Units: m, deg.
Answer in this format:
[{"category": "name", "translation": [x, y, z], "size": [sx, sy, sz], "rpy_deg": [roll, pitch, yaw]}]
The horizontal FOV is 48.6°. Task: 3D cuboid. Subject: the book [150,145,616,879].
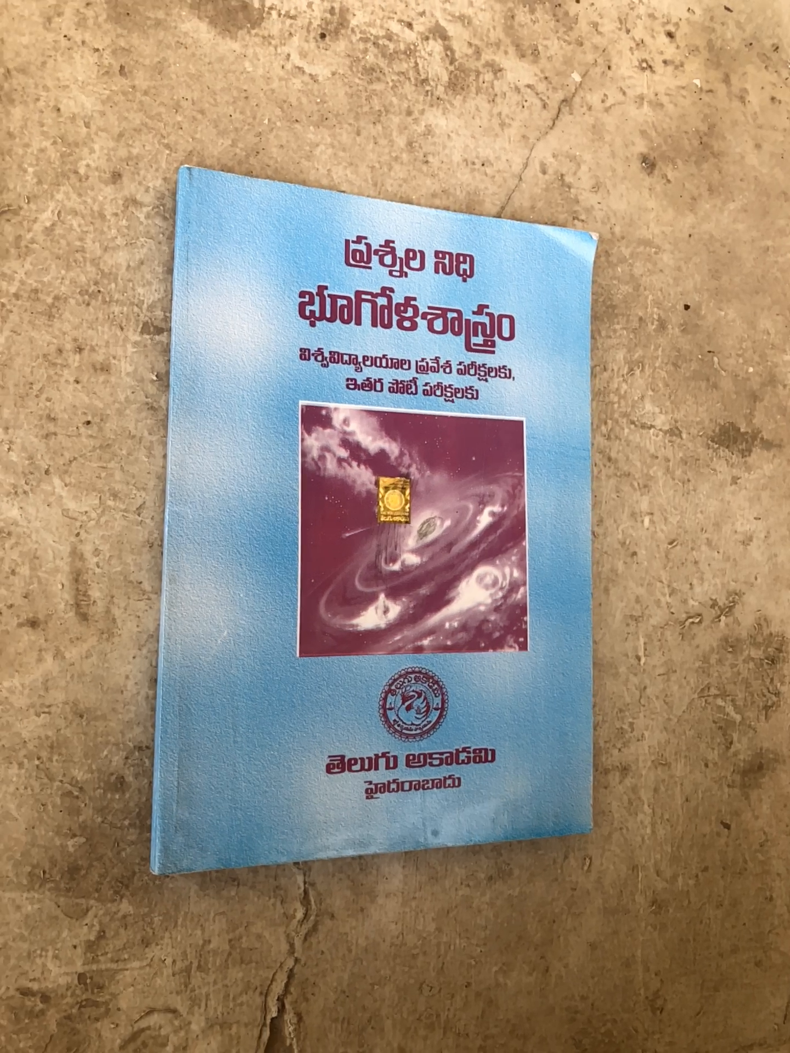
[{"category": "book", "translation": [-0.002, -0.006, 0.372], "size": [0.190, 0.040, 0.270], "rpy_deg": [1, 85, -20]}]
